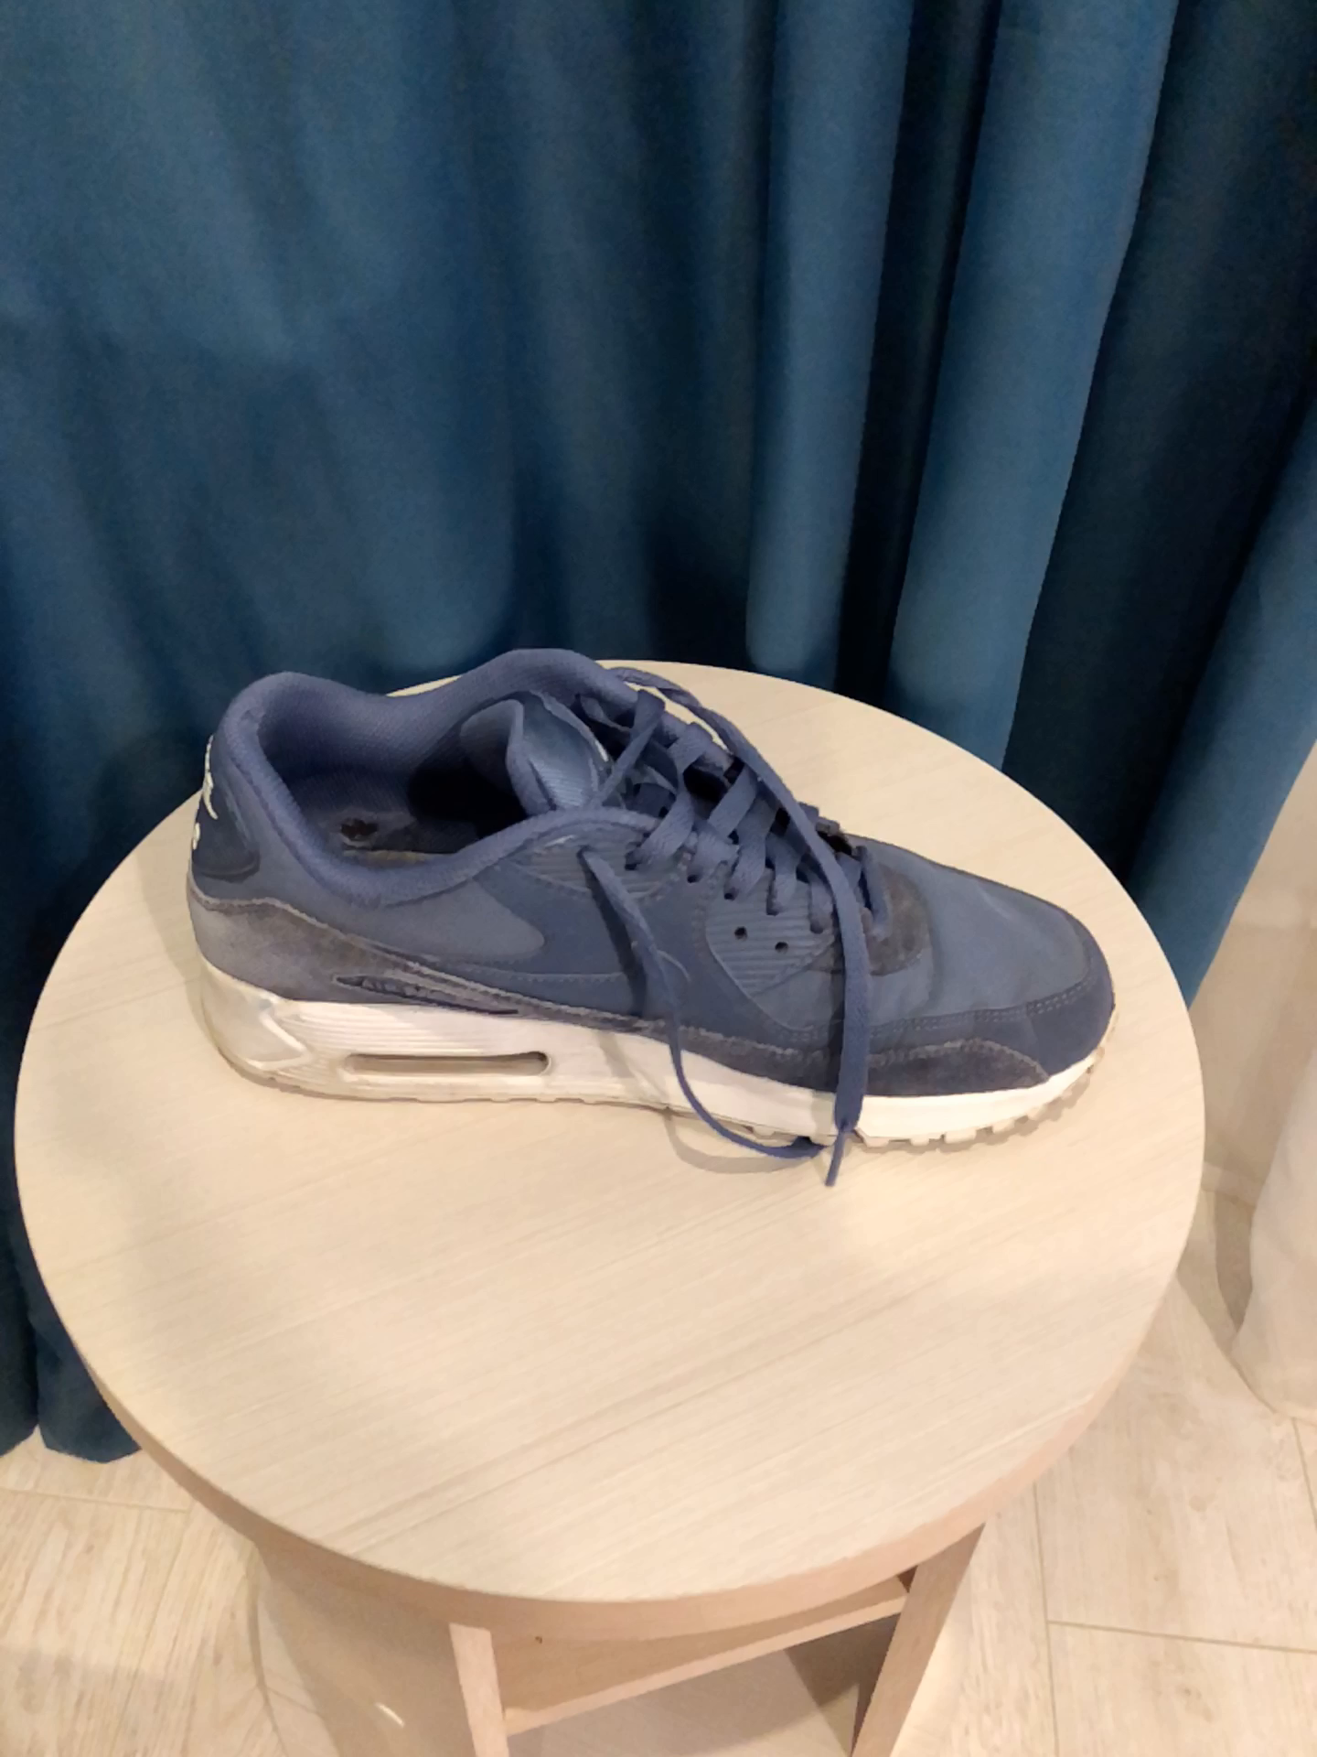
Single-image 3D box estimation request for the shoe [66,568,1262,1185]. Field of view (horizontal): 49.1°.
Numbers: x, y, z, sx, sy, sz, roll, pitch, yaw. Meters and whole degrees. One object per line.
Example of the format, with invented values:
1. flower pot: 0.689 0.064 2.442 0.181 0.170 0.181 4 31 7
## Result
1. shoe: 0.001 -0.002 0.414 0.280 0.109 0.111 5 42 1
